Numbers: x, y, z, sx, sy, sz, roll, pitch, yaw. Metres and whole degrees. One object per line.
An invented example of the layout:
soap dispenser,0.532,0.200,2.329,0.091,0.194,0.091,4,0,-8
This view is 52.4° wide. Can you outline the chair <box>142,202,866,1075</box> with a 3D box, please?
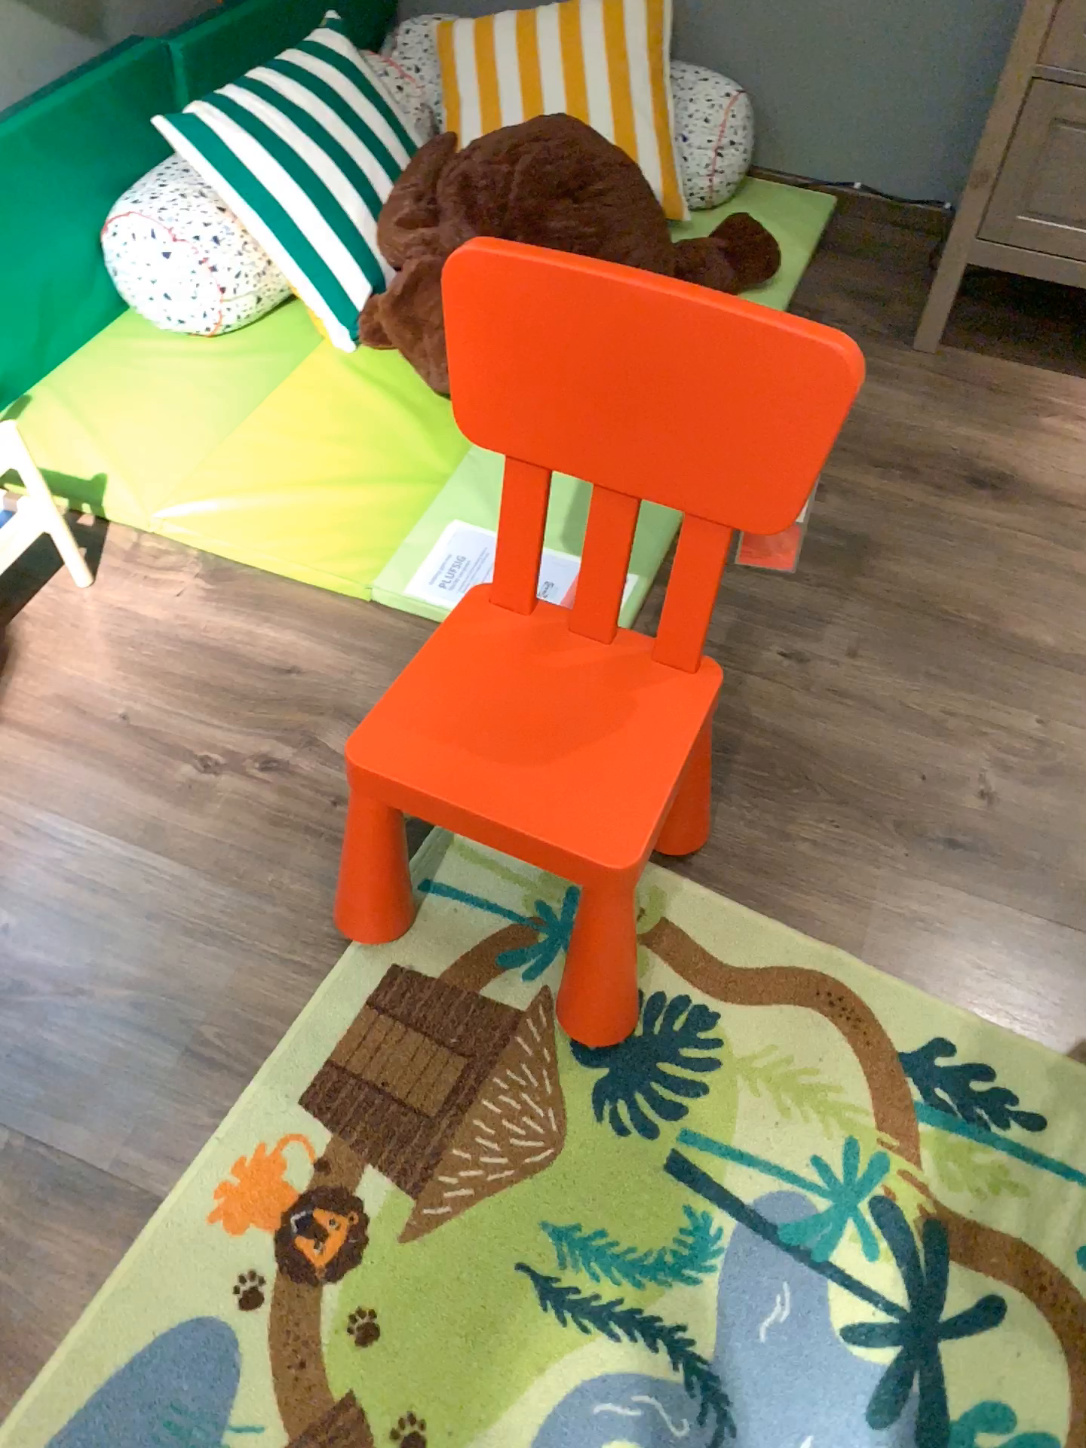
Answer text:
chair,-0.013,-0.066,1.062,0.380,0.598,0.461,22,52,15
